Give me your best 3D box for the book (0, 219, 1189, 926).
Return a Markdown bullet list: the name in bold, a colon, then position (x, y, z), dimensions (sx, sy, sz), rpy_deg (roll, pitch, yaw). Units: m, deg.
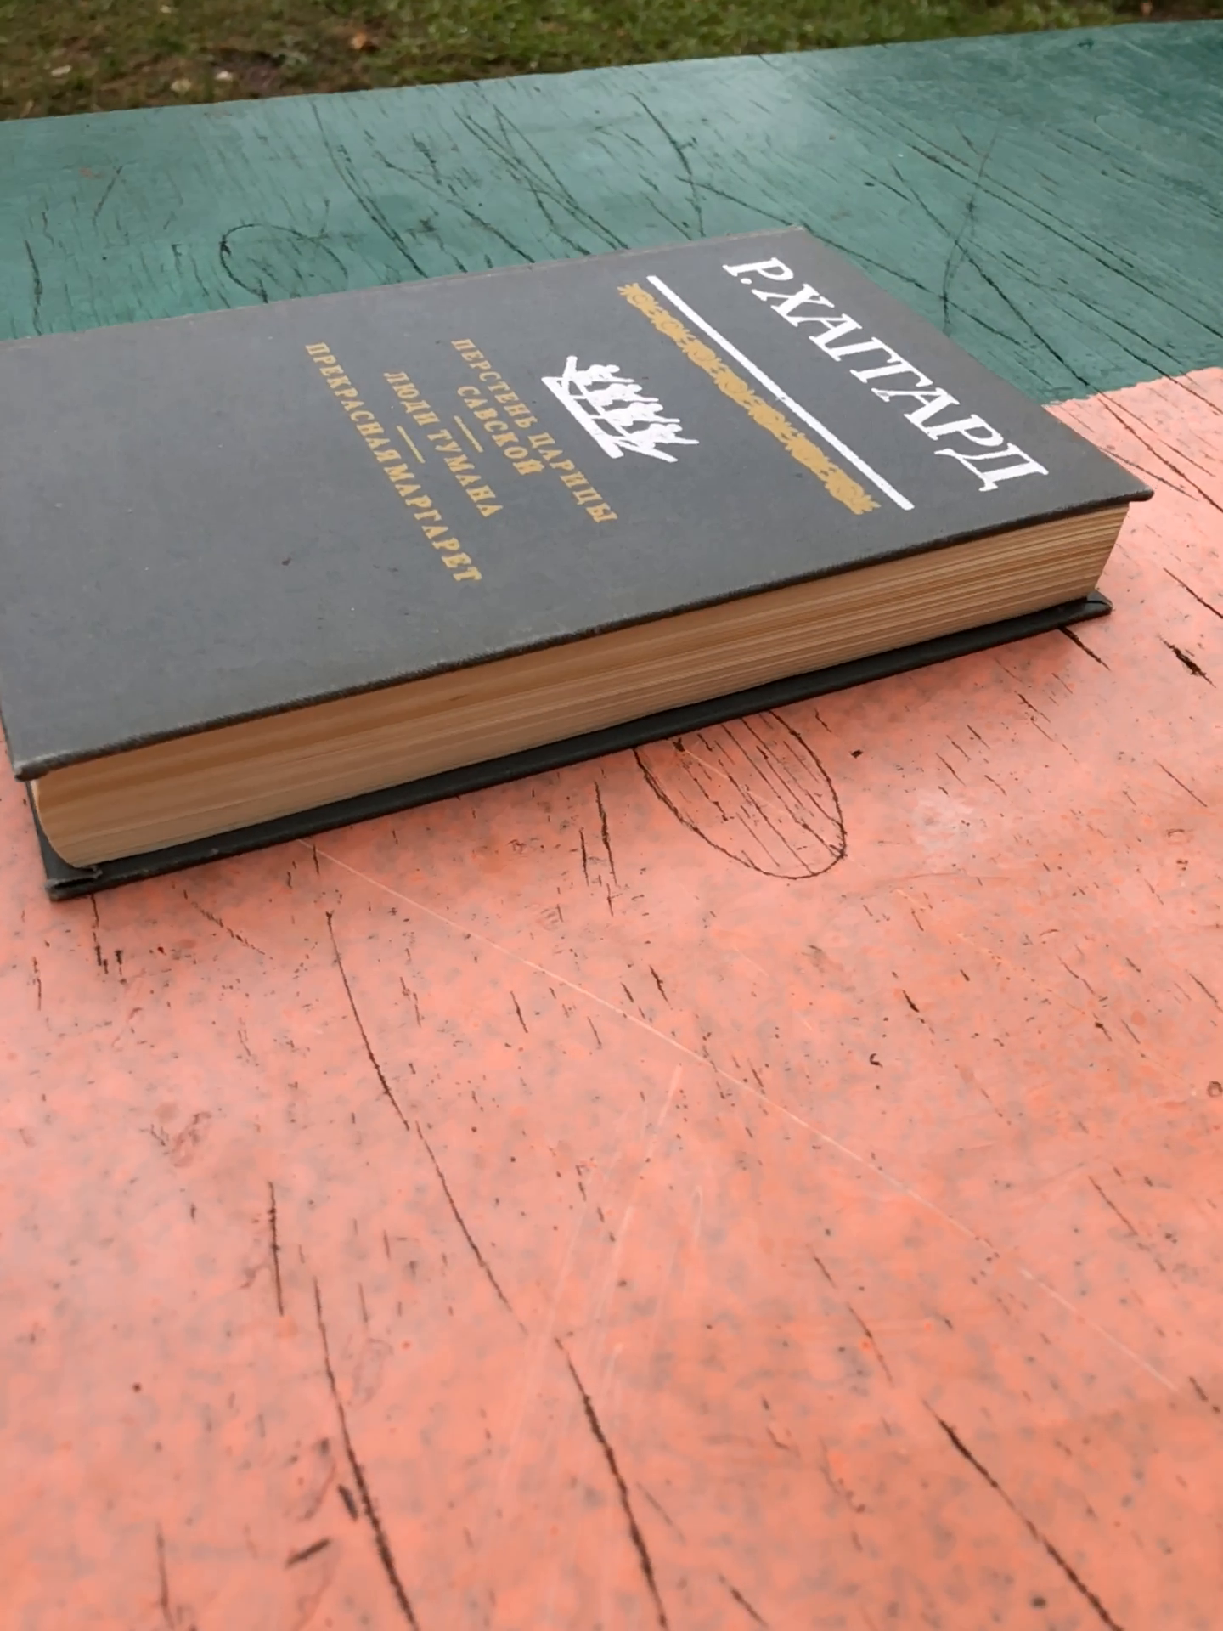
- **book**: position (-0.019, -0.071, 0.287), dimensions (0.222, 0.030, 0.151), rpy_deg (-16, 47, -19)
